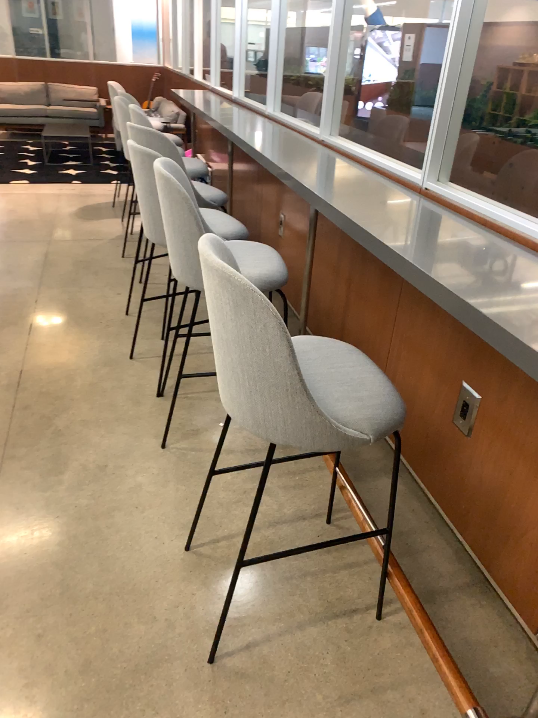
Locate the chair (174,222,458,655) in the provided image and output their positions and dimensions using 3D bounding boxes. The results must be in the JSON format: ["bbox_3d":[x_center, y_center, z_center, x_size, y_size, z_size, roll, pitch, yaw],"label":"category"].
[{"bbox_3d":[0.054,0.211,1.479,0.510,1.034,0.412,-8,31,-21],"label":"chair"}]
